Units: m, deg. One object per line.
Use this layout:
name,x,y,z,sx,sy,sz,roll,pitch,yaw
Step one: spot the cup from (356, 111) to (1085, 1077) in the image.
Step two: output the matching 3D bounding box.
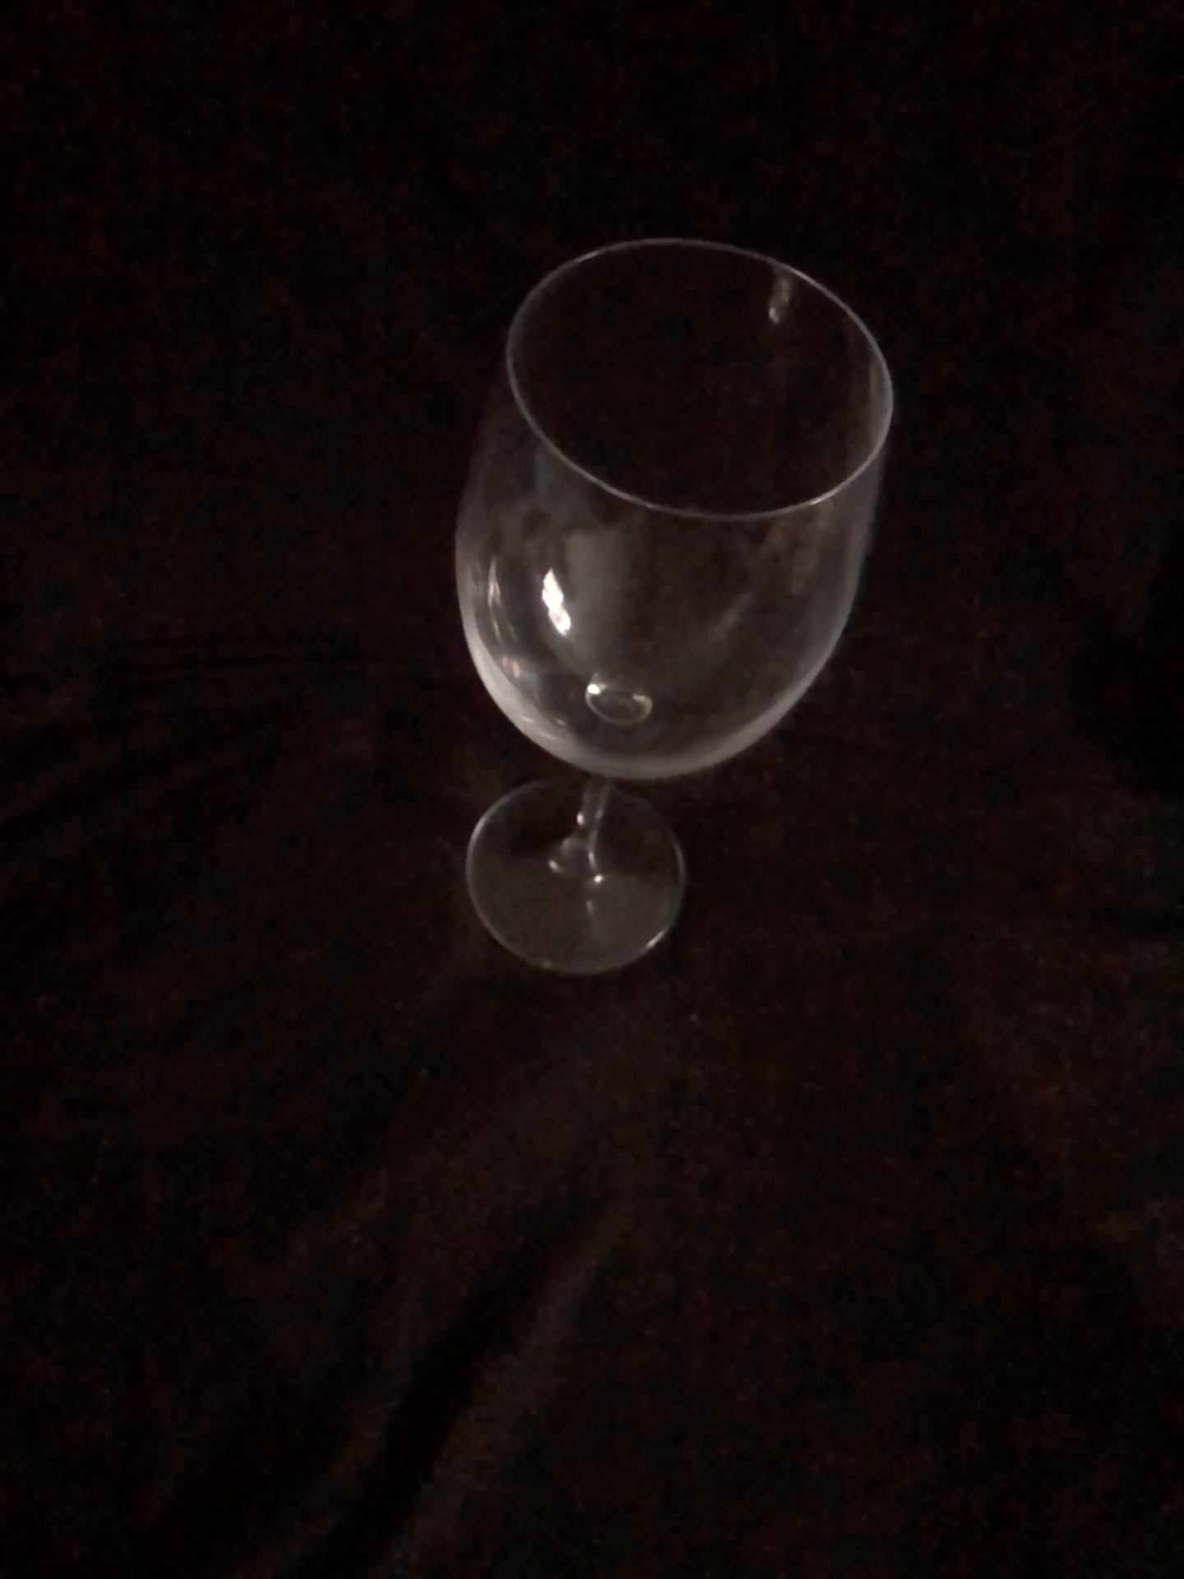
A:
cup,0.014,-0.025,0.373,0.100,0.267,0.103,2,62,-4
